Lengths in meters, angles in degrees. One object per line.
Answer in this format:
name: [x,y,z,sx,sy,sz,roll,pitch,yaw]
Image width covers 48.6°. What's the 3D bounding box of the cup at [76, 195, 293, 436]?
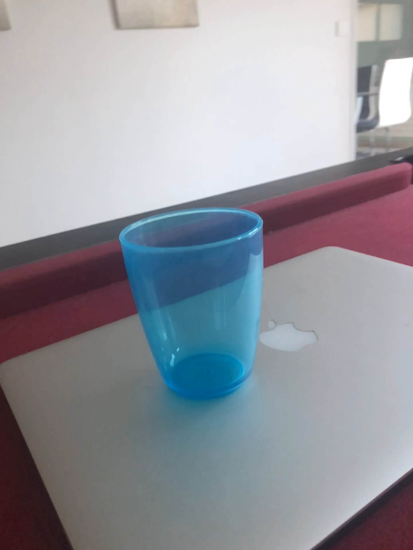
cup: [-0.011,0.015,0.274,0.090,0.100,0.080,-18,24,-28]
